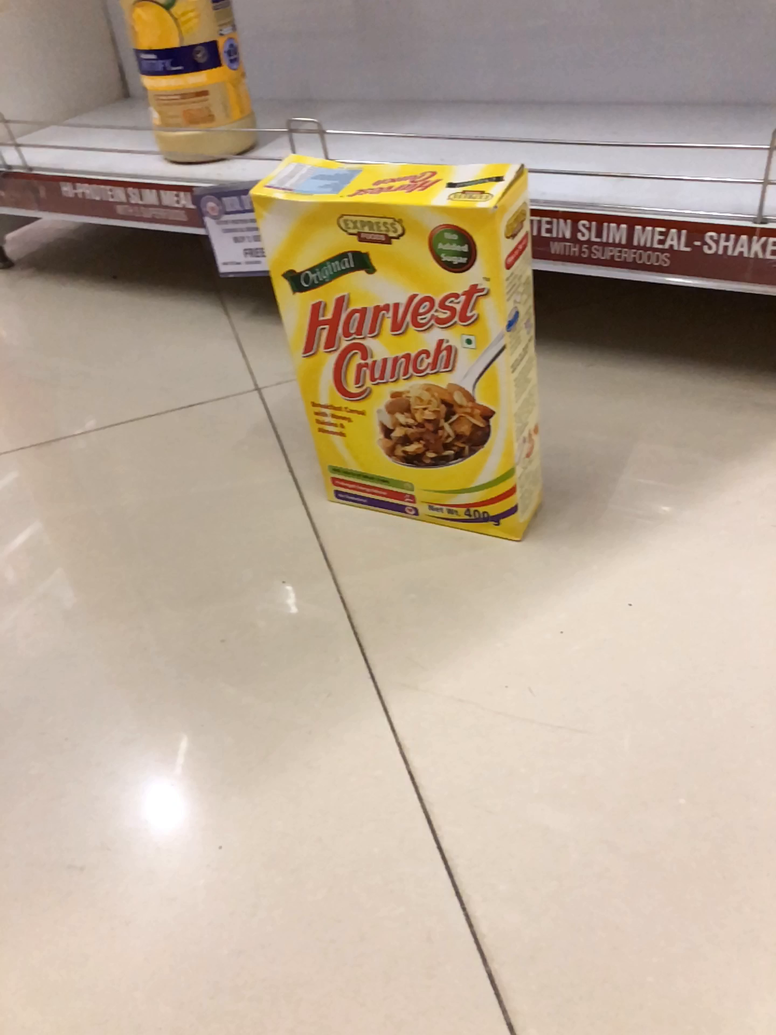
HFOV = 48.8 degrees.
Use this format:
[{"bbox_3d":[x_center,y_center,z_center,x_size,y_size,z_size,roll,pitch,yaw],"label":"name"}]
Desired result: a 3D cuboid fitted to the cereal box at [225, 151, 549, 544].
[{"bbox_3d":[0.009,-0.096,0.499,0.160,0.209,0.050,12,42,24],"label":"cereal box"}]
